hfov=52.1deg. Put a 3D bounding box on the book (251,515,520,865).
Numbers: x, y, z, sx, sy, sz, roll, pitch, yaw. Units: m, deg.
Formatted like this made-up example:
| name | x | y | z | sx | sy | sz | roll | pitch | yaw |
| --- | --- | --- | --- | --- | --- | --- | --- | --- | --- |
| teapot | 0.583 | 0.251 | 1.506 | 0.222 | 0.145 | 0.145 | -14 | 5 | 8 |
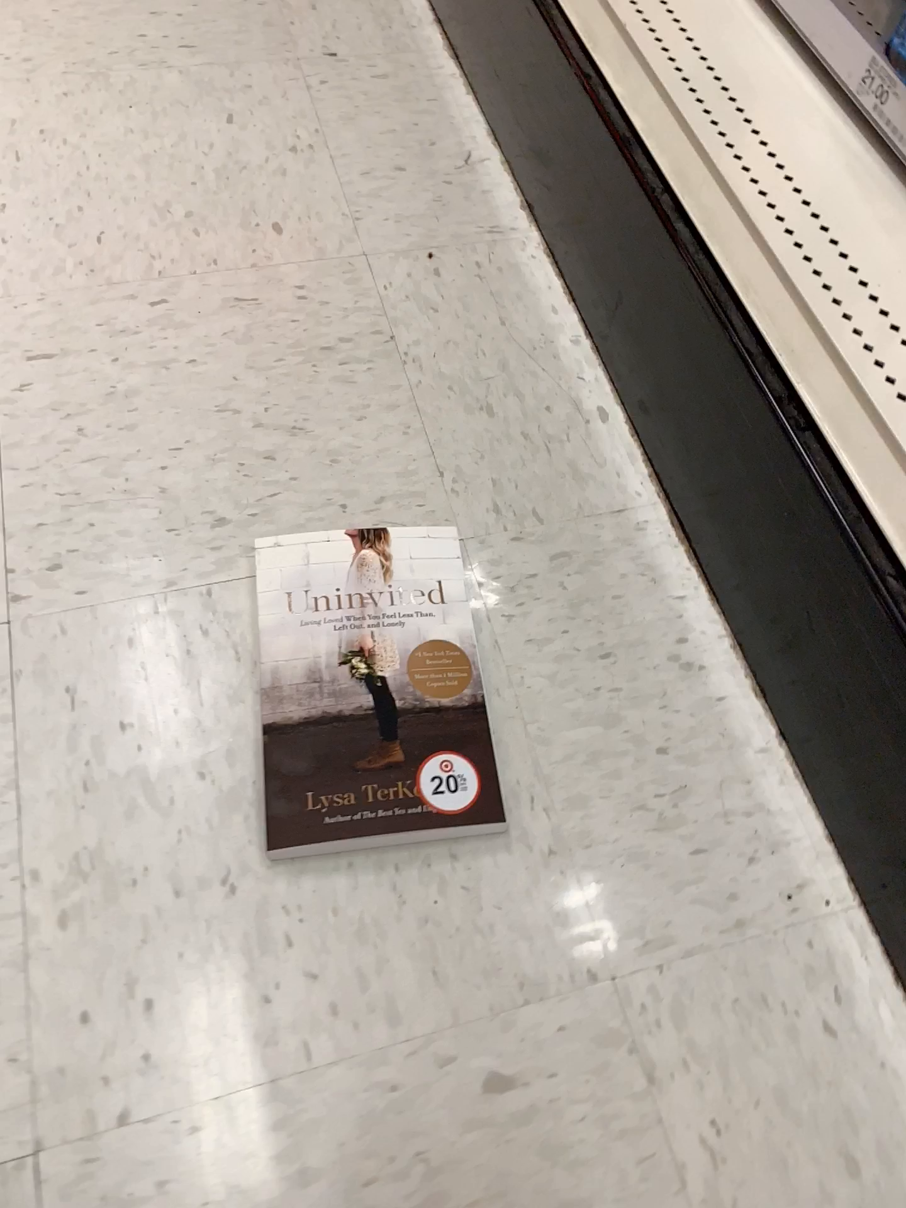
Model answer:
| name | x | y | z | sx | sy | sz | roll | pitch | yaw |
| --- | --- | --- | --- | --- | --- | --- | --- | --- | --- |
| book | -0.048 | 0.044 | 0.573 | 0.140 | 0.030 | 0.211 | -5 | 60 | -9 |
